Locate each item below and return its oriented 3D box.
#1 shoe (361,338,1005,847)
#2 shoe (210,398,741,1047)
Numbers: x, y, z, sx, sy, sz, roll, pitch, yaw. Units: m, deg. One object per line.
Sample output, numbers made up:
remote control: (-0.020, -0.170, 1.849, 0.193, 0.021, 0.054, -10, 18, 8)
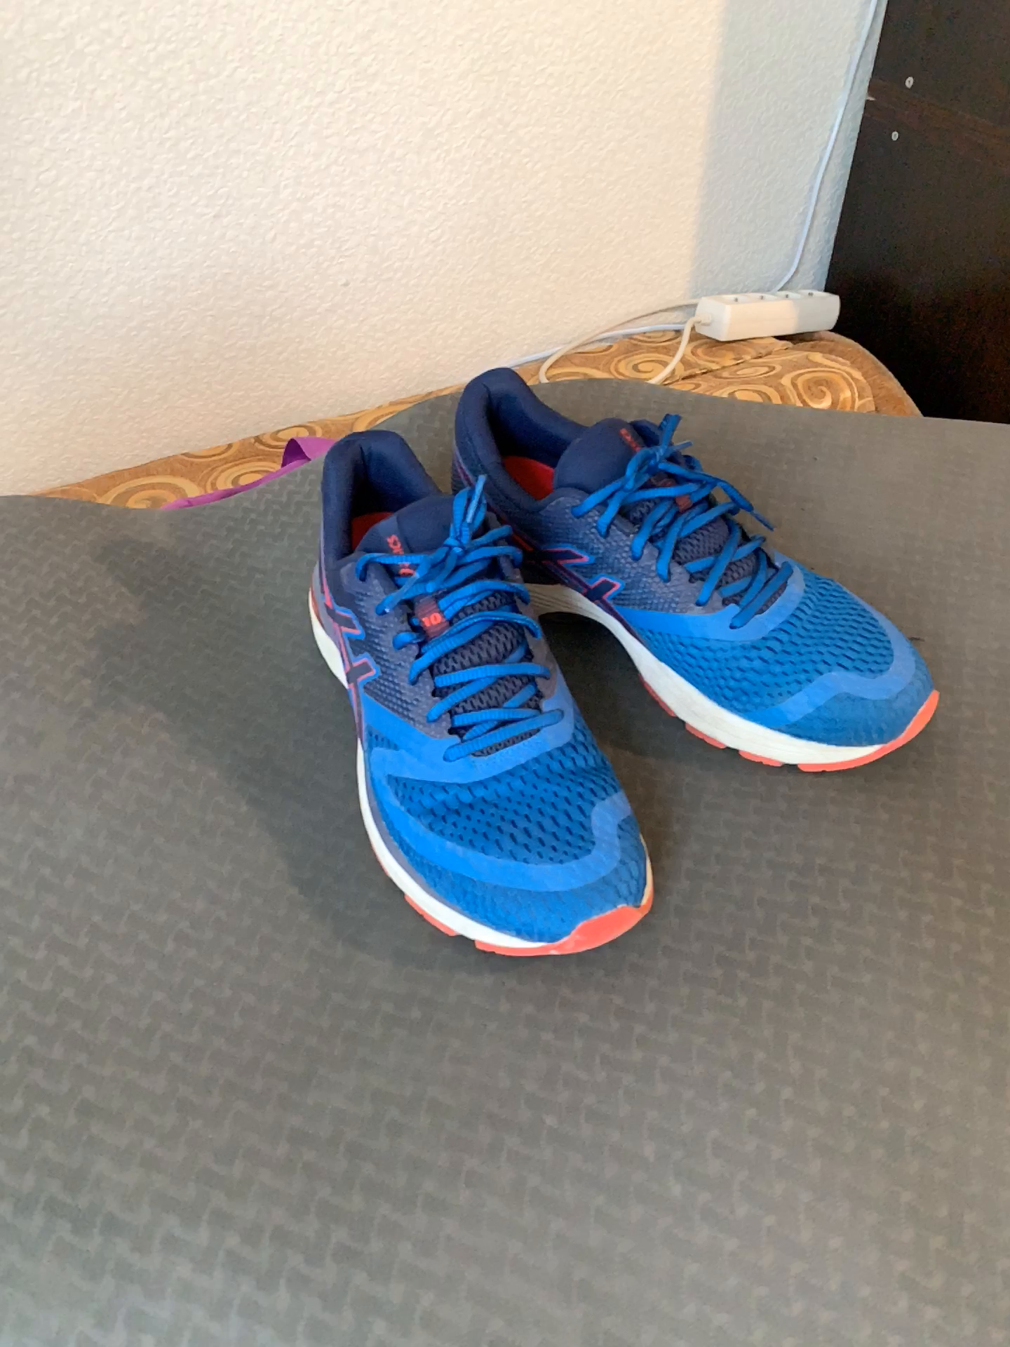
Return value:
shoe: (0.076, -0.059, 0.548, 0.301, 0.109, 0.120, 32, 53, 28)
shoe: (-0.033, 0.000, 0.496, 0.120, 0.109, 0.301, -19, 47, -18)
